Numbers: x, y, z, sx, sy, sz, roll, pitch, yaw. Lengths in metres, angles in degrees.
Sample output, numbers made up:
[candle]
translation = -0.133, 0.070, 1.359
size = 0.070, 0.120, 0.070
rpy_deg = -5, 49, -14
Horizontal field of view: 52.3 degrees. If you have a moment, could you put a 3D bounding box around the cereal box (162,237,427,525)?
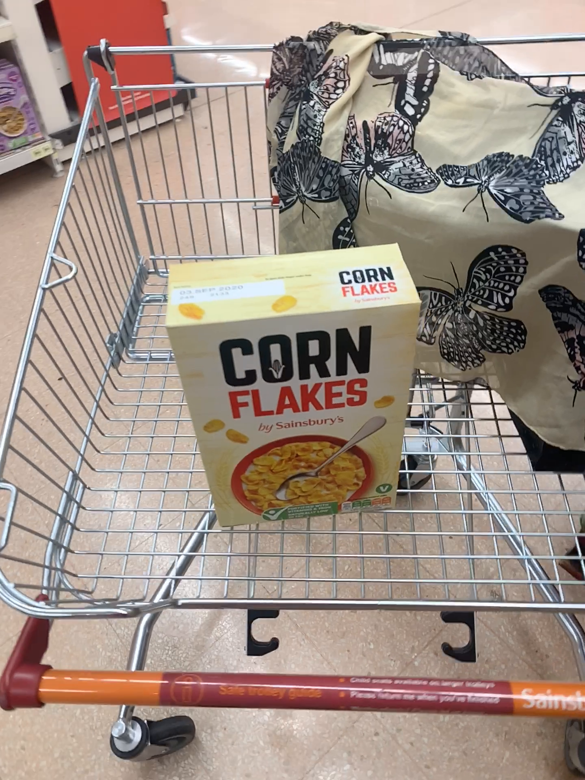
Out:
[cereal box]
translation = 0.003, 0.008, 0.553
size = 0.190, 0.277, 0.081
rpy_deg = -6, 47, -3
